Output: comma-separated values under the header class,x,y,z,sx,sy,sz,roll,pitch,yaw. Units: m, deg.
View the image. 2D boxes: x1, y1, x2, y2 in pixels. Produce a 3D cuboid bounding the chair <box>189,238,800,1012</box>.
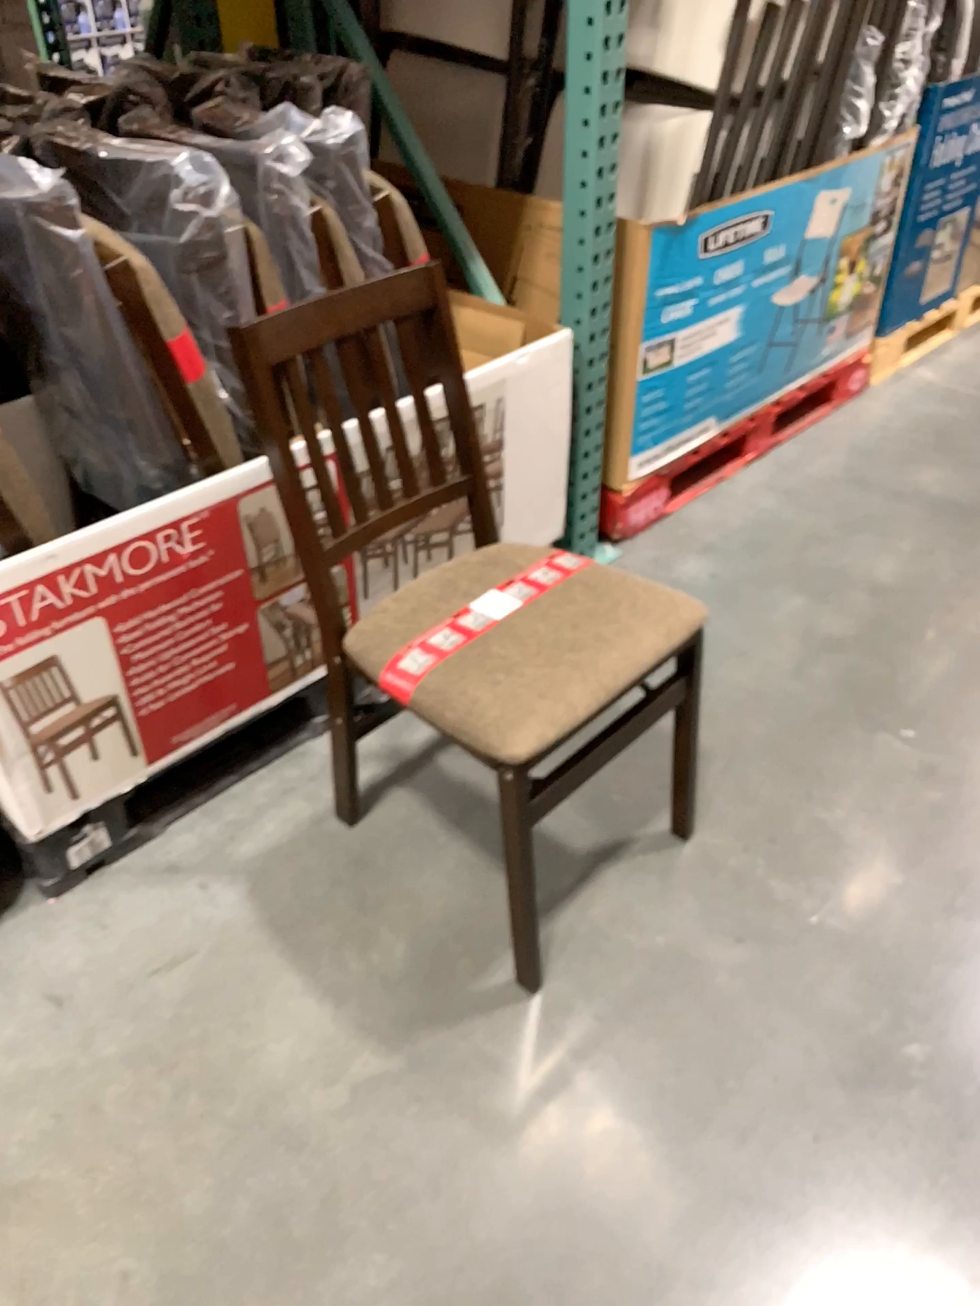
class,x,y,z,sx,sy,sz,roll,pitch,yaw
chair,-0.001,-0.047,1.428,0.573,0.837,0.422,29,47,33
